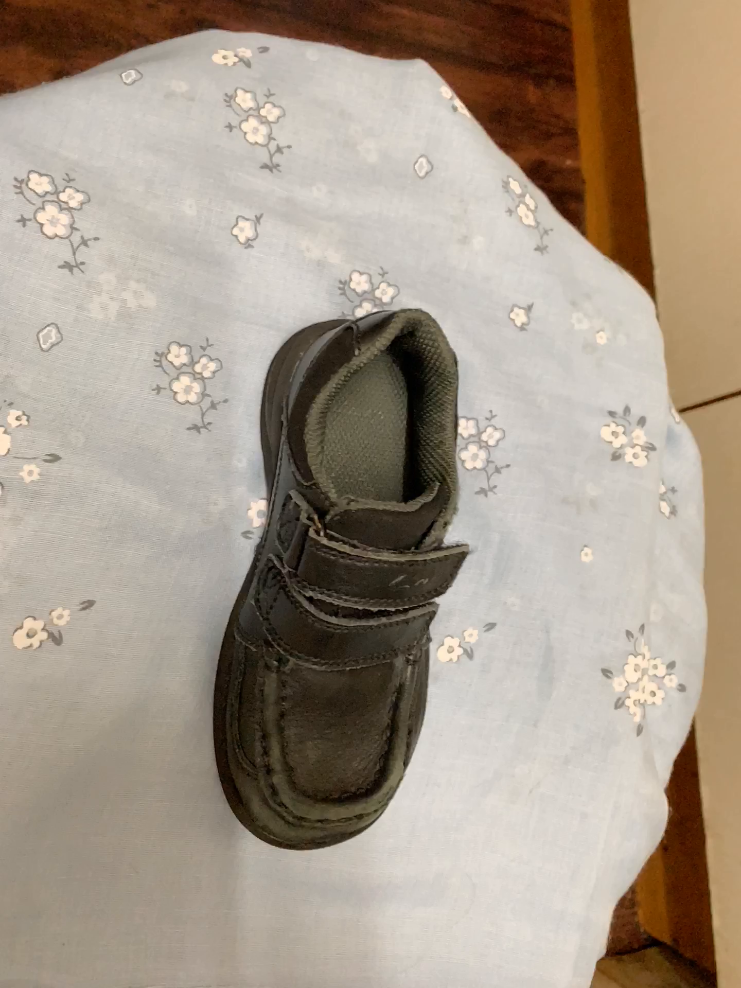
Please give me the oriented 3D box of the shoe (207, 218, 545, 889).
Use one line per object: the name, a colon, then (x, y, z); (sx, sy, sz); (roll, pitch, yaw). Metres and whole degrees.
shoe: (0.001, 0.020, 0.262); (0.079, 0.073, 0.190); (9, 79, -20)
